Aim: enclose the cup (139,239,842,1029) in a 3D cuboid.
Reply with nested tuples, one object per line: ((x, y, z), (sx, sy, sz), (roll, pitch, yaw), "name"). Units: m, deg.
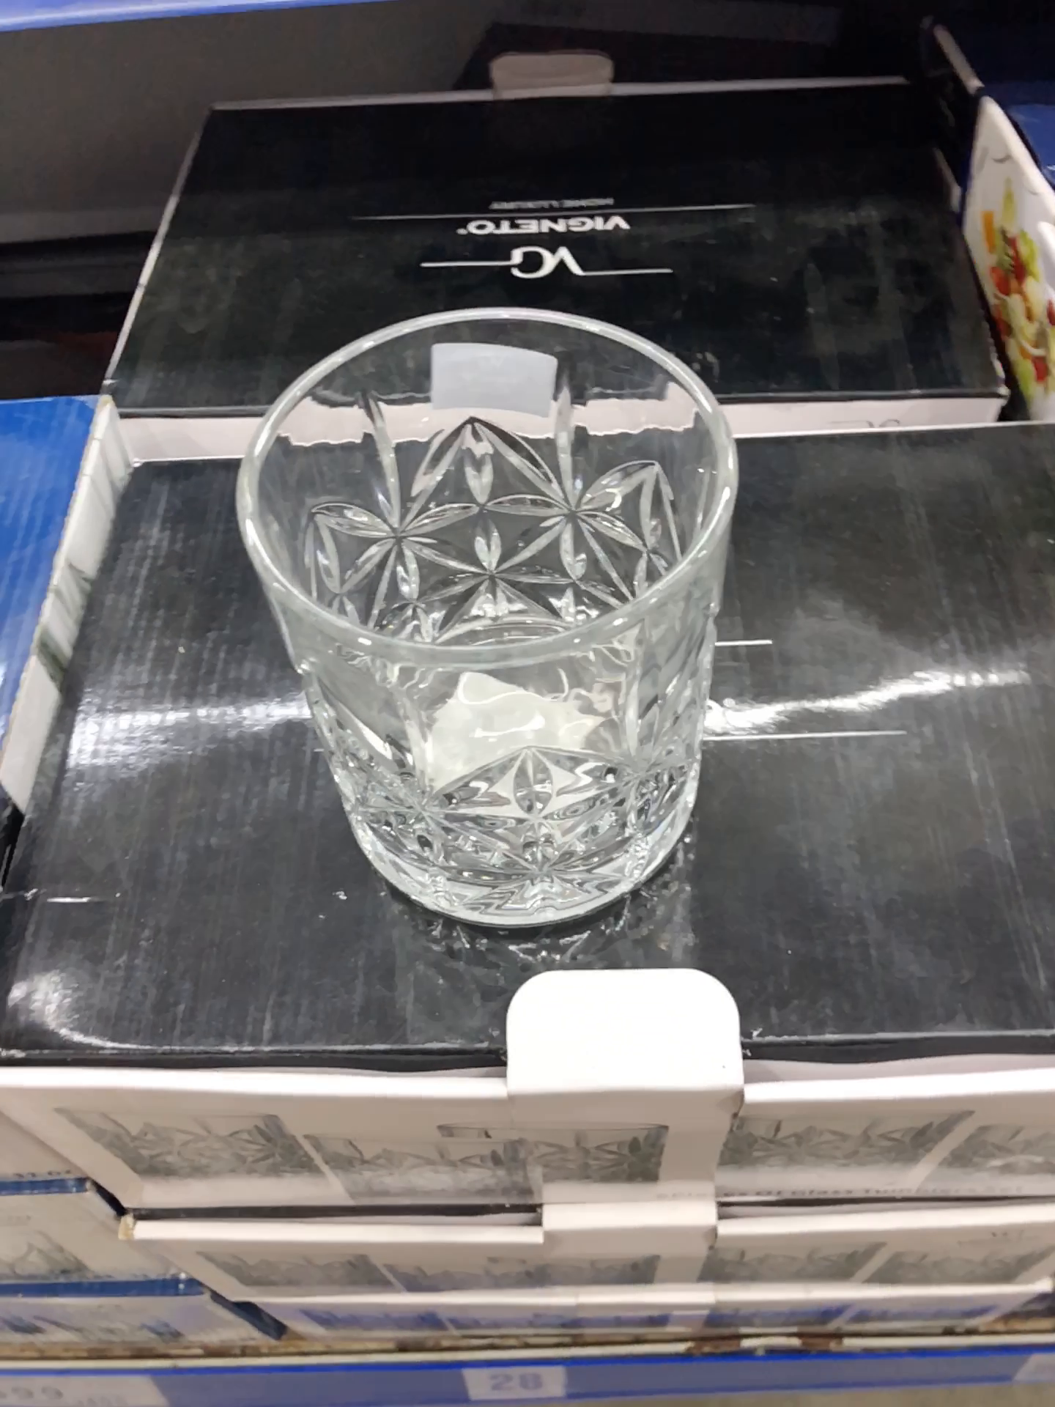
((-0.011, -0.012, 0.237), (0.100, 0.100, 0.100), (-2, 54, 3), "cup")
